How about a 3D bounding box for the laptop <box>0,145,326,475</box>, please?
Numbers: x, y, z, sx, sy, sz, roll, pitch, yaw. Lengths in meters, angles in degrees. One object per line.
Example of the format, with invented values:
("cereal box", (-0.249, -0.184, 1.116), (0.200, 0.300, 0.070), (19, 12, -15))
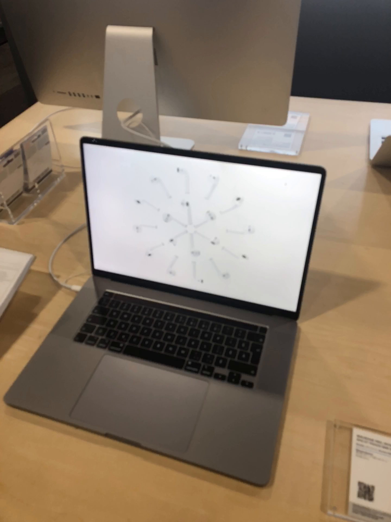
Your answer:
("laptop", (-0.044, 0.036, 0.544), (0.344, 0.227, 0.292), (10, 43, 15))
